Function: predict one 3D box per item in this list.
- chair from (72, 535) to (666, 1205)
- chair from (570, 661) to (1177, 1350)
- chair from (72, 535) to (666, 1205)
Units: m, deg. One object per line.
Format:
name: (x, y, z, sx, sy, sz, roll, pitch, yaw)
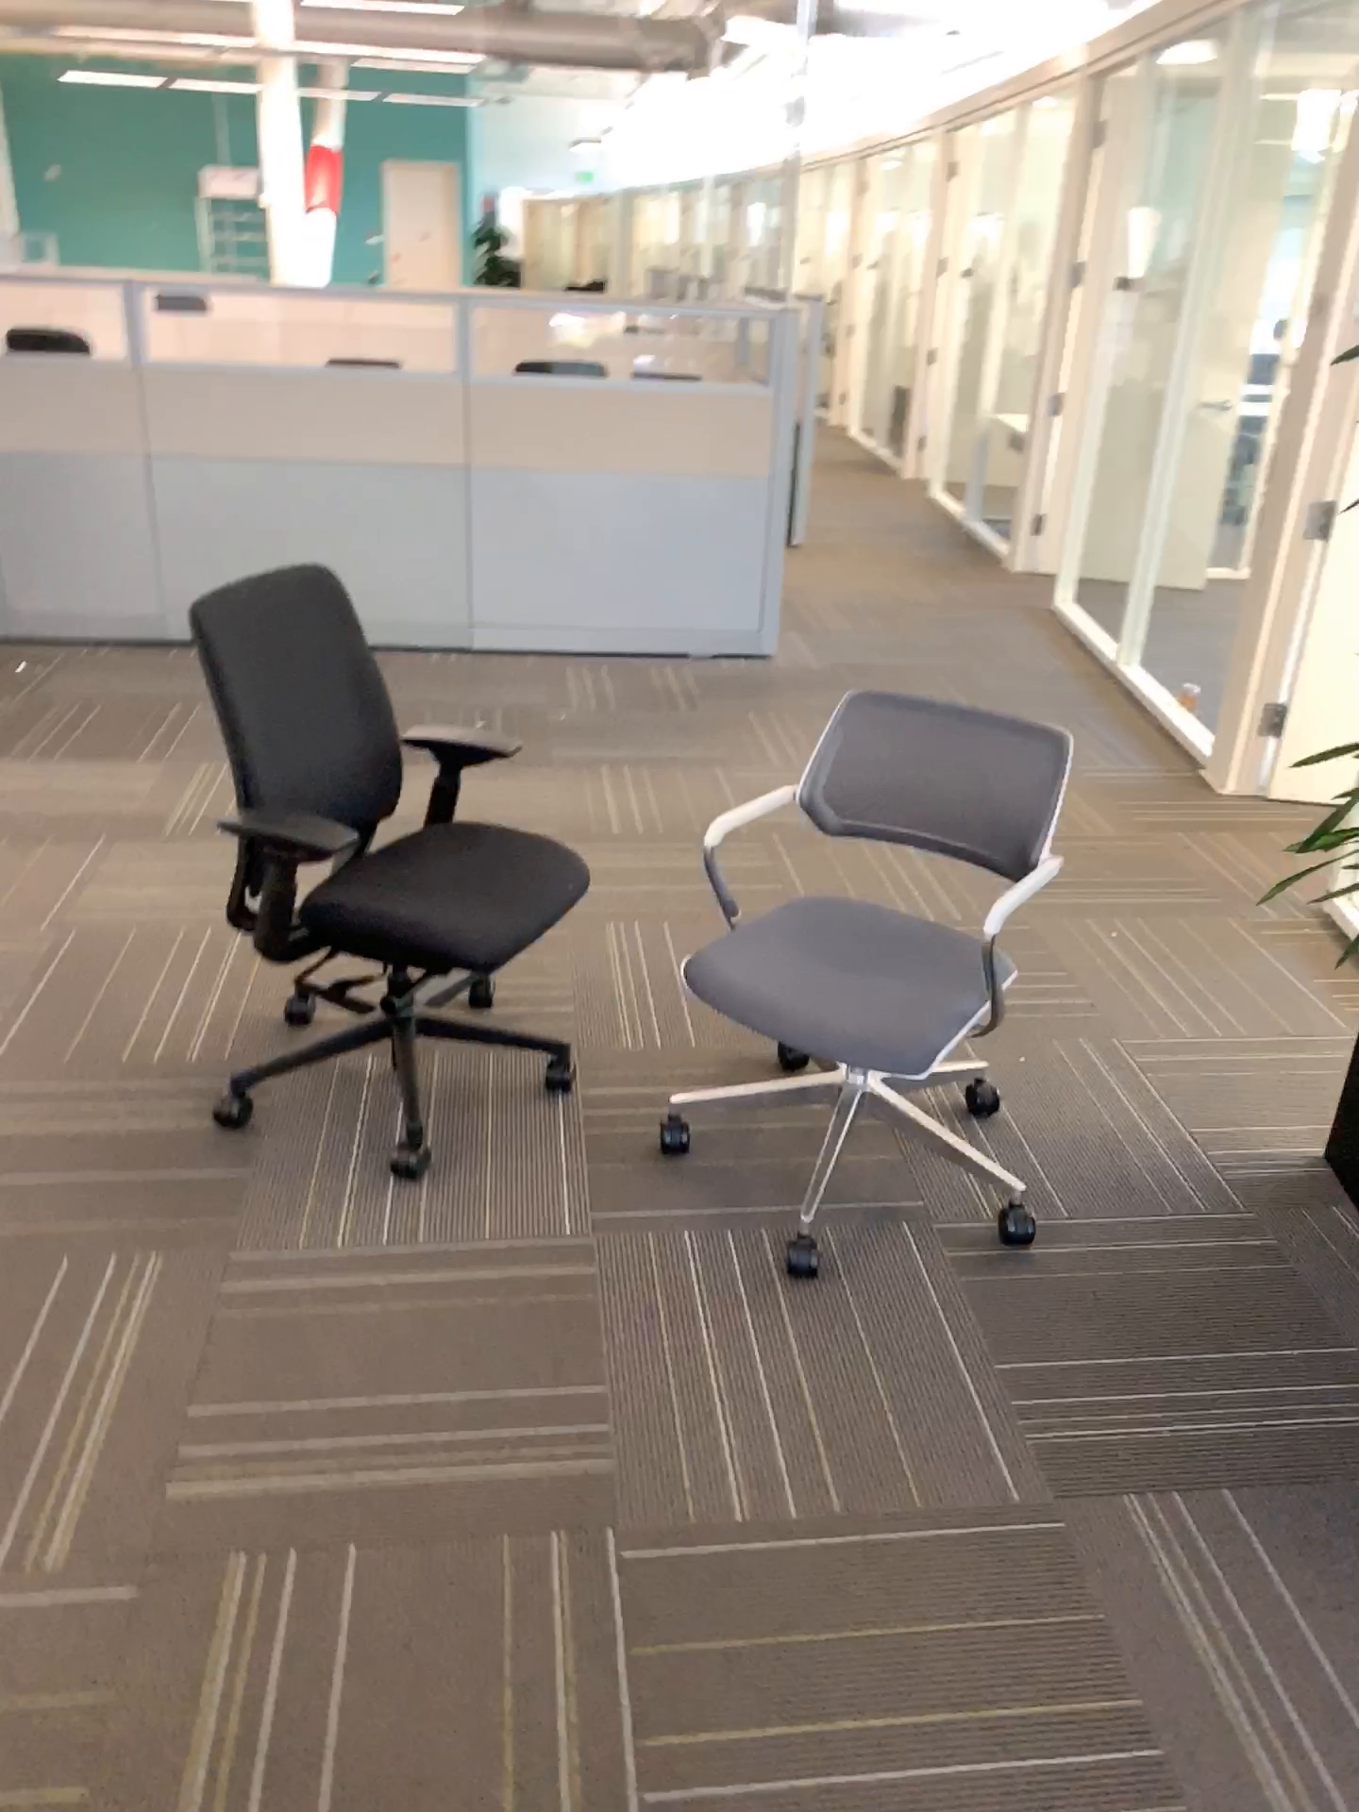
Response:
chair: (-0.506, -0.129, 2.605, 0.711, 0.915, 0.823, 10, 26, 14)
chair: (0.331, 0.098, 2.396, 0.732, 0.776, 0.752, 16, 28, 26)
chair: (-0.506, -0.129, 2.605, 0.711, 0.915, 0.823, 10, 26, 14)
